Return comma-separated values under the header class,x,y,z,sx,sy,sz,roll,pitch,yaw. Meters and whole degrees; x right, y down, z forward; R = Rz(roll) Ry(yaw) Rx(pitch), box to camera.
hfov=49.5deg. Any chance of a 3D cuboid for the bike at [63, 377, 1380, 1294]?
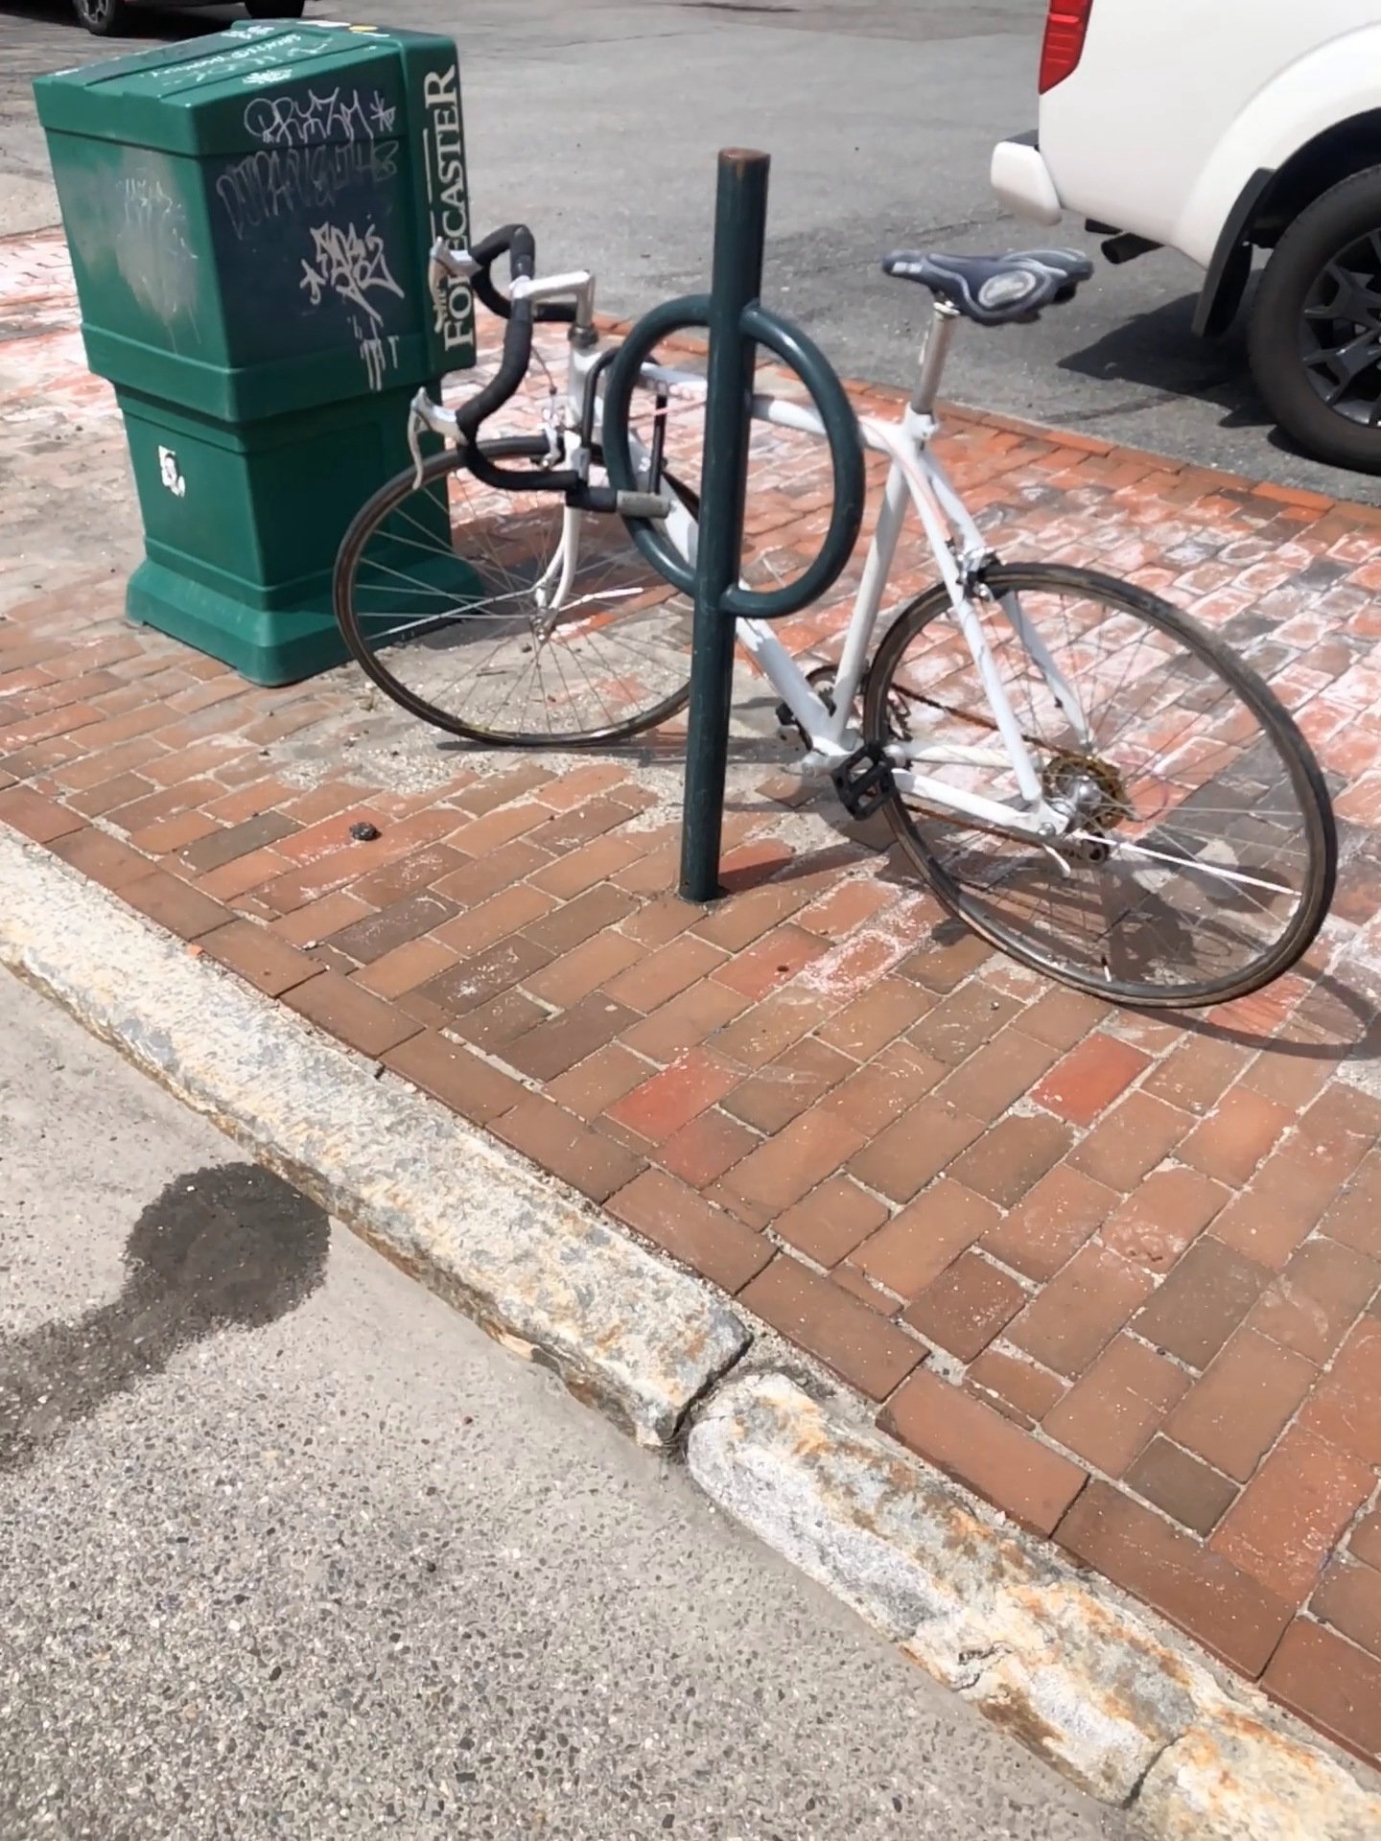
class,x,y,z,sx,sy,sz,roll,pitch,yaw
bike,0.013,-0.169,1.684,1.275,0.650,0.467,18,37,26
